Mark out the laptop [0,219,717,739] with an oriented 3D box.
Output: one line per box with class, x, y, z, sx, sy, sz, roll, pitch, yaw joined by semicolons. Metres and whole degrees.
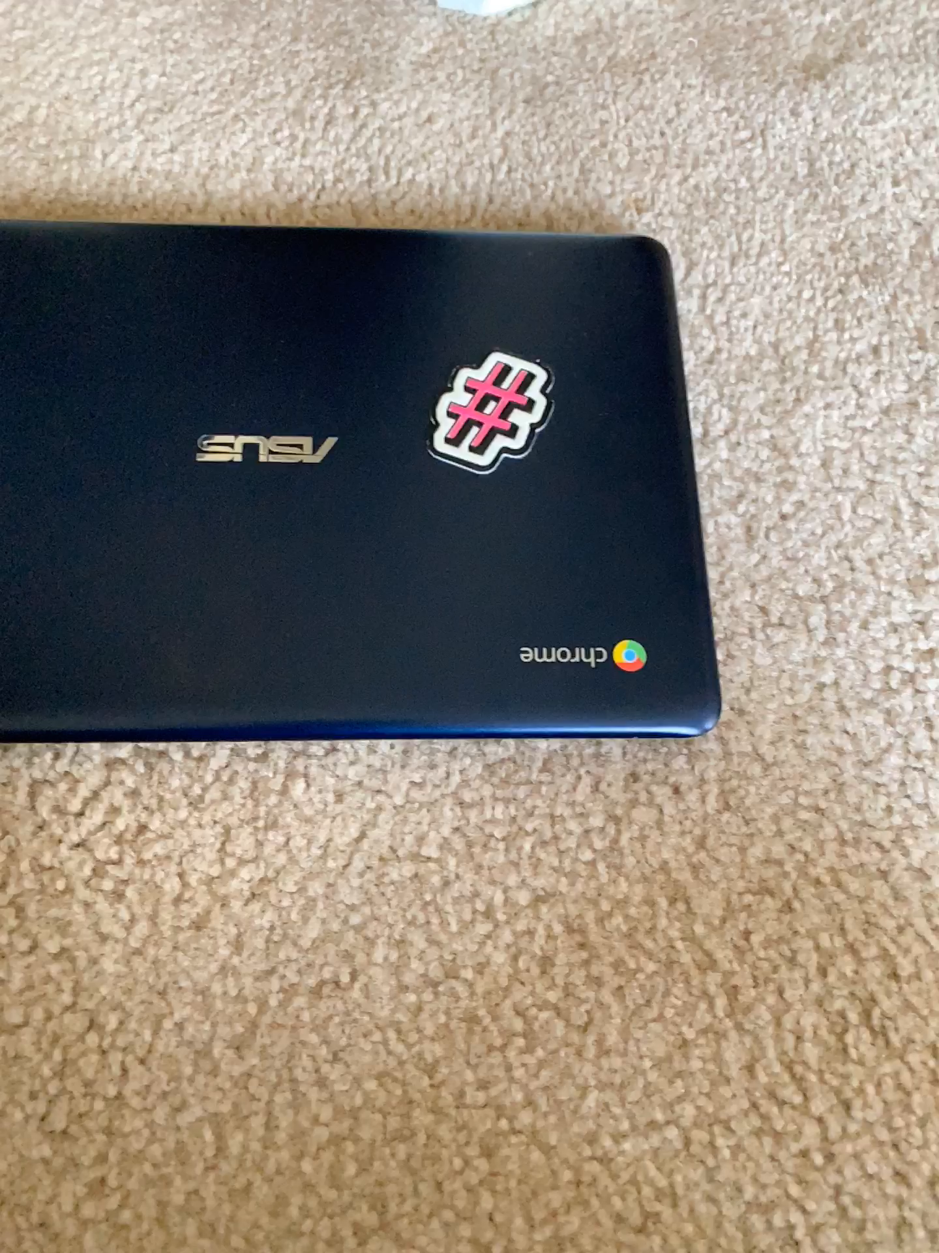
laptop;-0.063;-0.054;0.318;0.271;0.006;0.182;0;70;-4
